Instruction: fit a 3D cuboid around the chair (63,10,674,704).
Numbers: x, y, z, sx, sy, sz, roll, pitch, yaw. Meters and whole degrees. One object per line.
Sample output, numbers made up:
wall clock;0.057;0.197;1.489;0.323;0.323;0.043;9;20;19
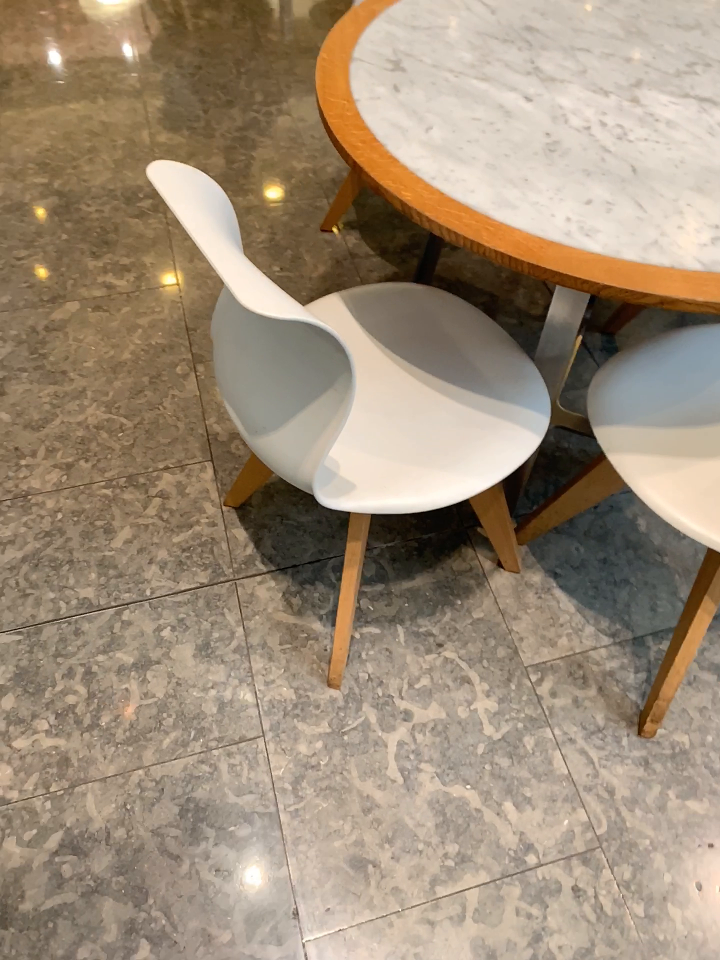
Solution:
chair;-0.016;-0.136;1.232;0.541;0.912;0.503;-25;58;-19
